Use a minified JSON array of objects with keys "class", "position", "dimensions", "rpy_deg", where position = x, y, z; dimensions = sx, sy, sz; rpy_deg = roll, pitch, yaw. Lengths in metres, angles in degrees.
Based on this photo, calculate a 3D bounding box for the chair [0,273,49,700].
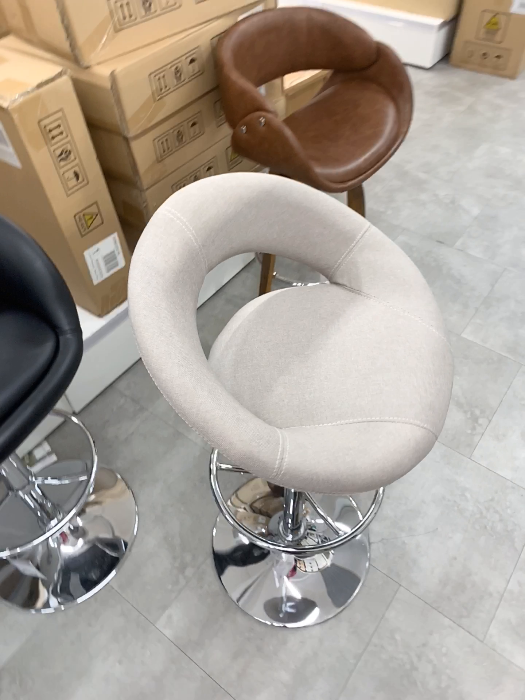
[{"class":"chair","position":[-0.842,0.503,0.824],"dimensions":[0.535,1.009,0.486],"rpy_deg":[-31,55,-22]}]

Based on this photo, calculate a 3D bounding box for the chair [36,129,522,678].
[{"class":"chair","position":[0.062,0.187,1.076],"dimensions":[0.465,0.979,0.487],"rpy_deg":[22,54,19]}]

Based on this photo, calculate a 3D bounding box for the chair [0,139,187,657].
[{"class":"chair","position":[-0.561,0.166,1.135],"dimensions":[0.485,0.940,0.497],"rpy_deg":[22,54,19]}]

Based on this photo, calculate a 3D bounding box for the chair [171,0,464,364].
[{"class":"chair","position":[0.147,-0.546,1.787],"dimensions":[0.535,0.910,0.577],"rpy_deg":[-31,55,-22]}]
